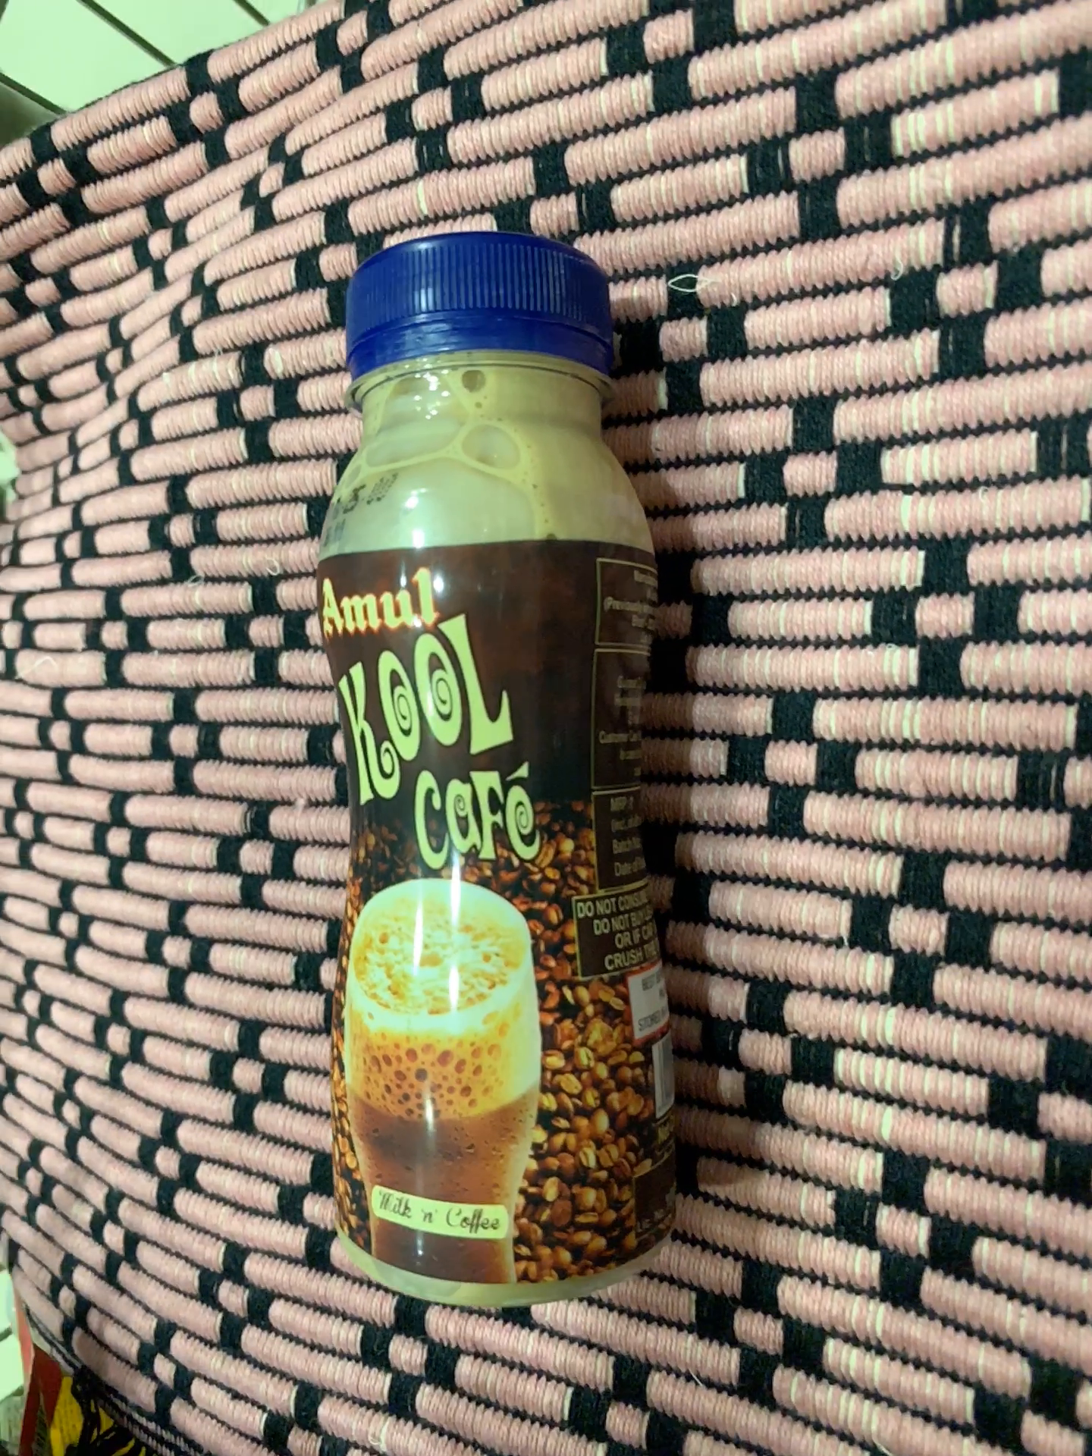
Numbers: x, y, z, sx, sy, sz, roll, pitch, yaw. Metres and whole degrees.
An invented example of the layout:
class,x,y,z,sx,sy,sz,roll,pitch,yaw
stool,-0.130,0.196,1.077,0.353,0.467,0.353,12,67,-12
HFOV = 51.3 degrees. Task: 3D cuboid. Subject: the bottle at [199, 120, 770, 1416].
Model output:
class,x,y,z,sx,sy,sz,roll,pitch,yaw
bottle,-0.006,0.004,0.159,0.060,0.050,0.140,-2,85,29
